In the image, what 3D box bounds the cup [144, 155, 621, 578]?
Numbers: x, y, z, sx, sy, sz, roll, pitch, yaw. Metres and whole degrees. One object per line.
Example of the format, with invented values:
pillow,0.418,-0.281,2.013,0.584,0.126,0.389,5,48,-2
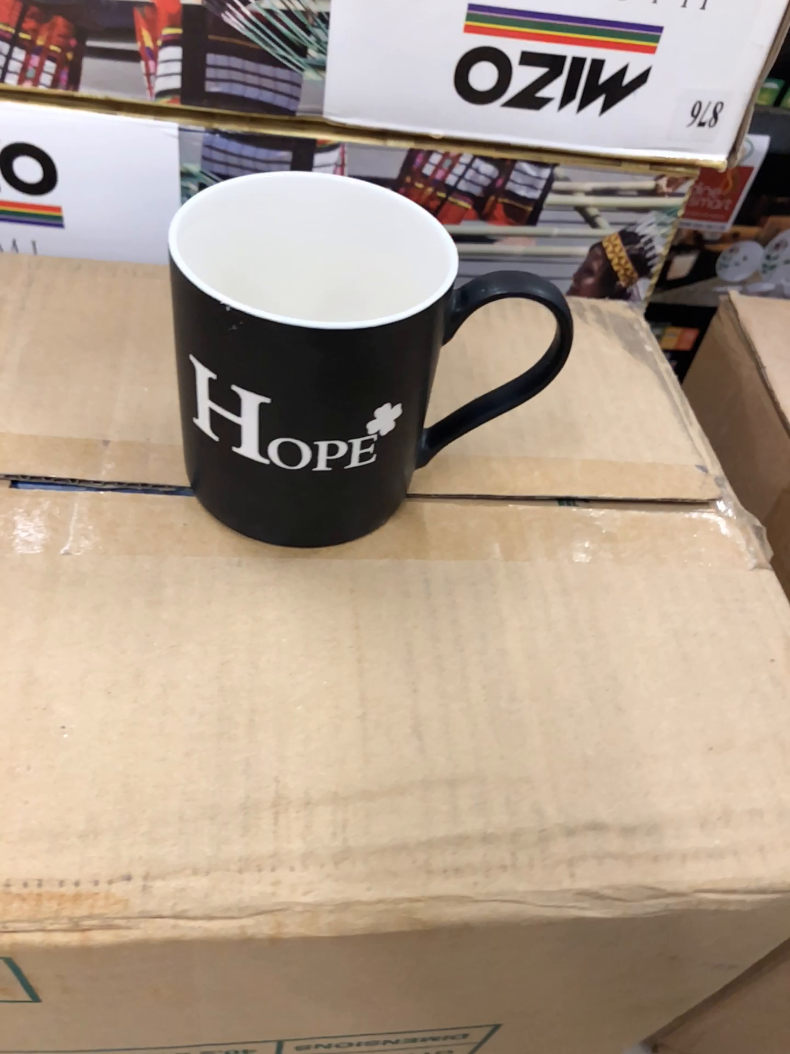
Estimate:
cup,-0.013,-0.049,0.280,0.120,0.089,0.091,-1,48,-12
